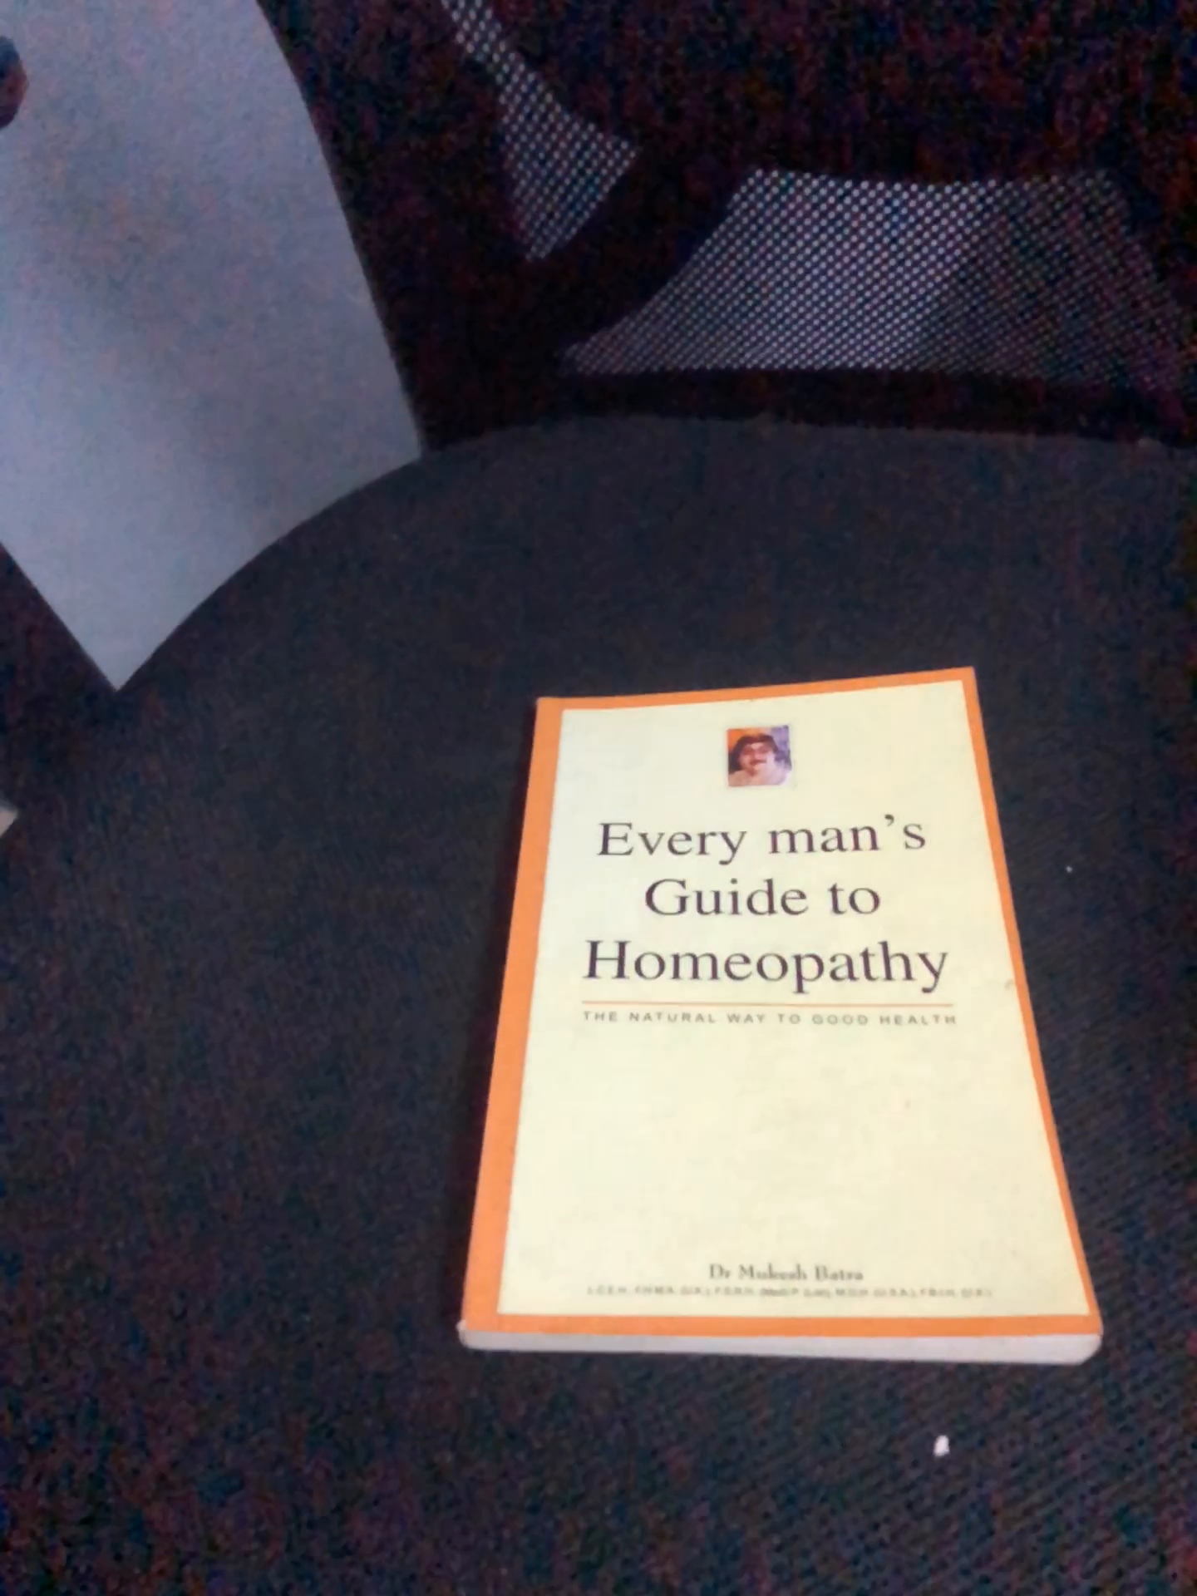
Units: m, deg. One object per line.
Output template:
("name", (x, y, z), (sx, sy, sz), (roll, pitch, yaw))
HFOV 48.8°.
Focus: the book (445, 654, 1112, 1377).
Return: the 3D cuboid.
("book", (0.044, 0.044, 0.359), (0.140, 0.026, 0.208), (-2, 47, 8))
